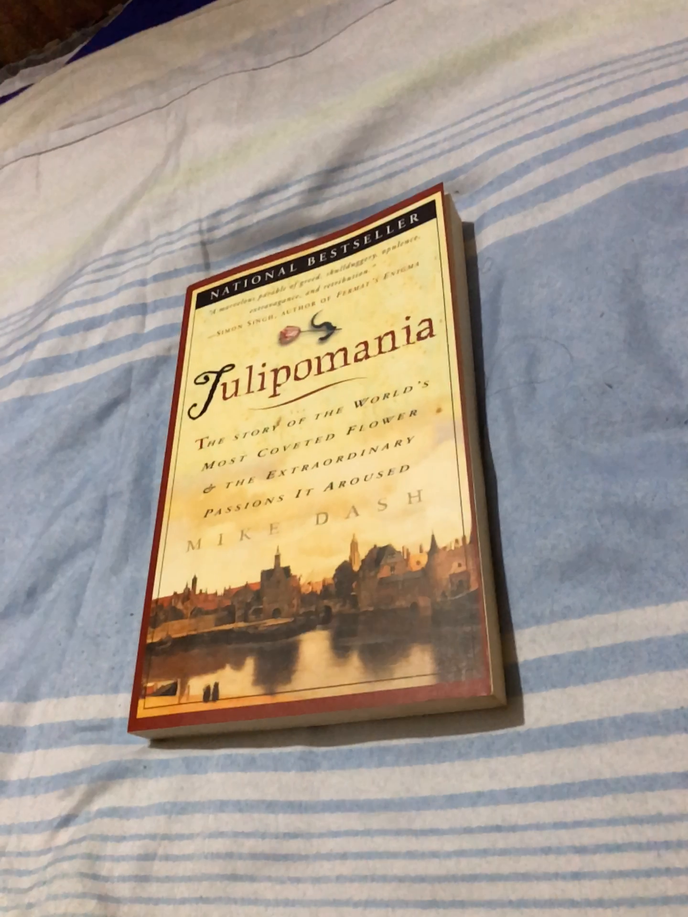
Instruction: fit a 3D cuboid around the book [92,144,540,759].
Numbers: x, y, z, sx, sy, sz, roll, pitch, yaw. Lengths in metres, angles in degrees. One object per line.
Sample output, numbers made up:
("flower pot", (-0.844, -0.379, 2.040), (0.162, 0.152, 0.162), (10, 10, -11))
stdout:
("book", (-0.010, -0.008, 0.313), (0.140, 0.050, 0.230), (-14, 56, 23))
